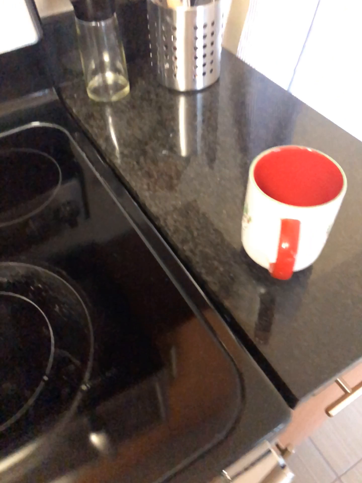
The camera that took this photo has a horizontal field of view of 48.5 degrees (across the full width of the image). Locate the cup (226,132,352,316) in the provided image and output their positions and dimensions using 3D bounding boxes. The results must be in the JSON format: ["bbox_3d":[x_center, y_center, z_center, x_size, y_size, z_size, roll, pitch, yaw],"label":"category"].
[{"bbox_3d":[0.101,-0.018,0.396,0.090,0.110,0.130,9,52,9],"label":"cup"}]
